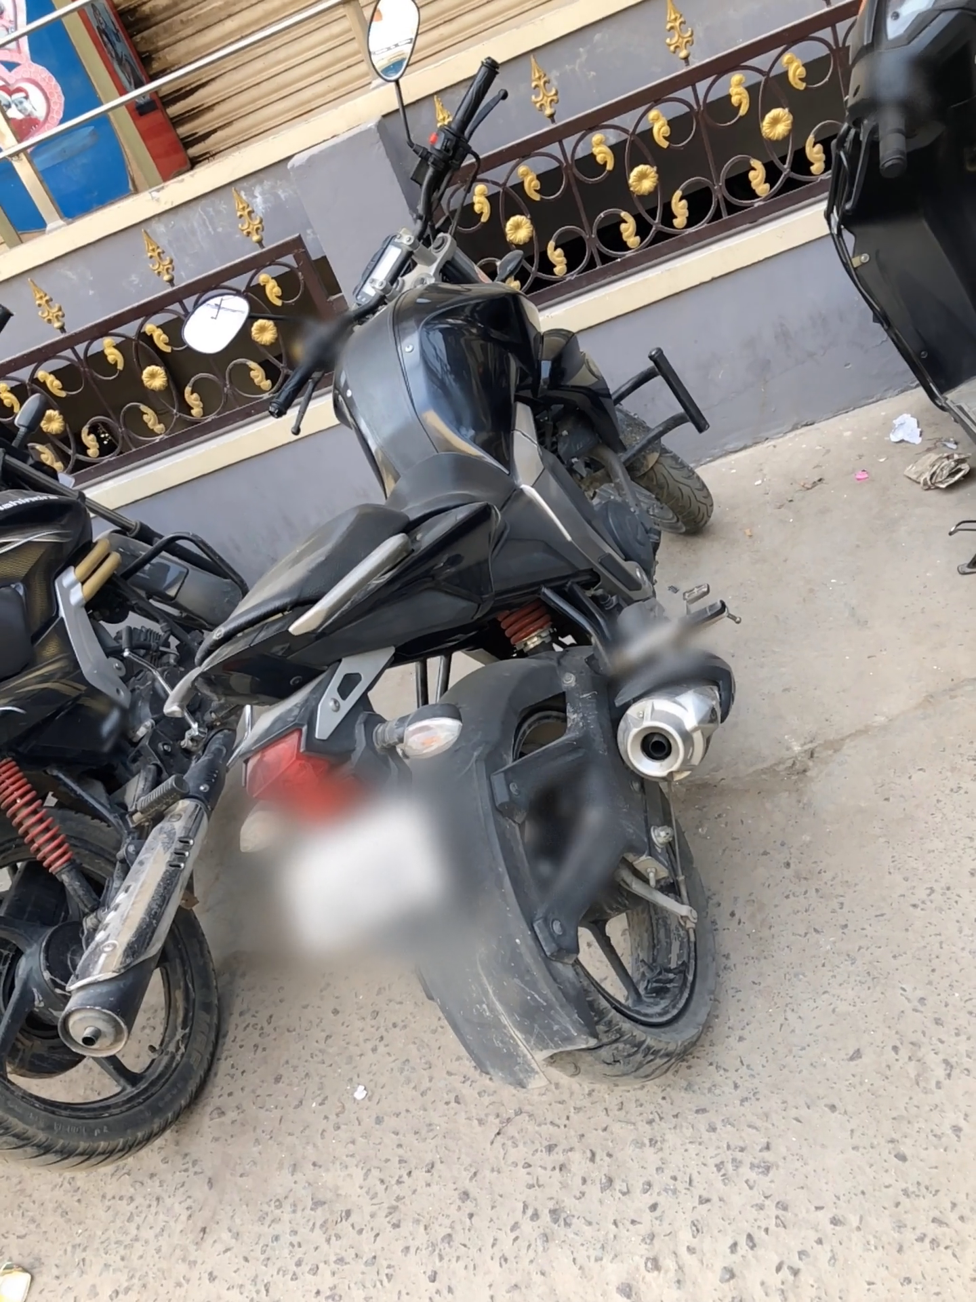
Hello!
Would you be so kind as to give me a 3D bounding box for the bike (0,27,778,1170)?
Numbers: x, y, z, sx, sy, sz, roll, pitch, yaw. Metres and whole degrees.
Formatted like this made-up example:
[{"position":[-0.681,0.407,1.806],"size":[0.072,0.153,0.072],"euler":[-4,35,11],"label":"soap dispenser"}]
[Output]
[{"position":[-0.148,-0.275,1.932],"size":[0.693,1.197,1.766],"euler":[-17,31,13],"label":"bike"}]
